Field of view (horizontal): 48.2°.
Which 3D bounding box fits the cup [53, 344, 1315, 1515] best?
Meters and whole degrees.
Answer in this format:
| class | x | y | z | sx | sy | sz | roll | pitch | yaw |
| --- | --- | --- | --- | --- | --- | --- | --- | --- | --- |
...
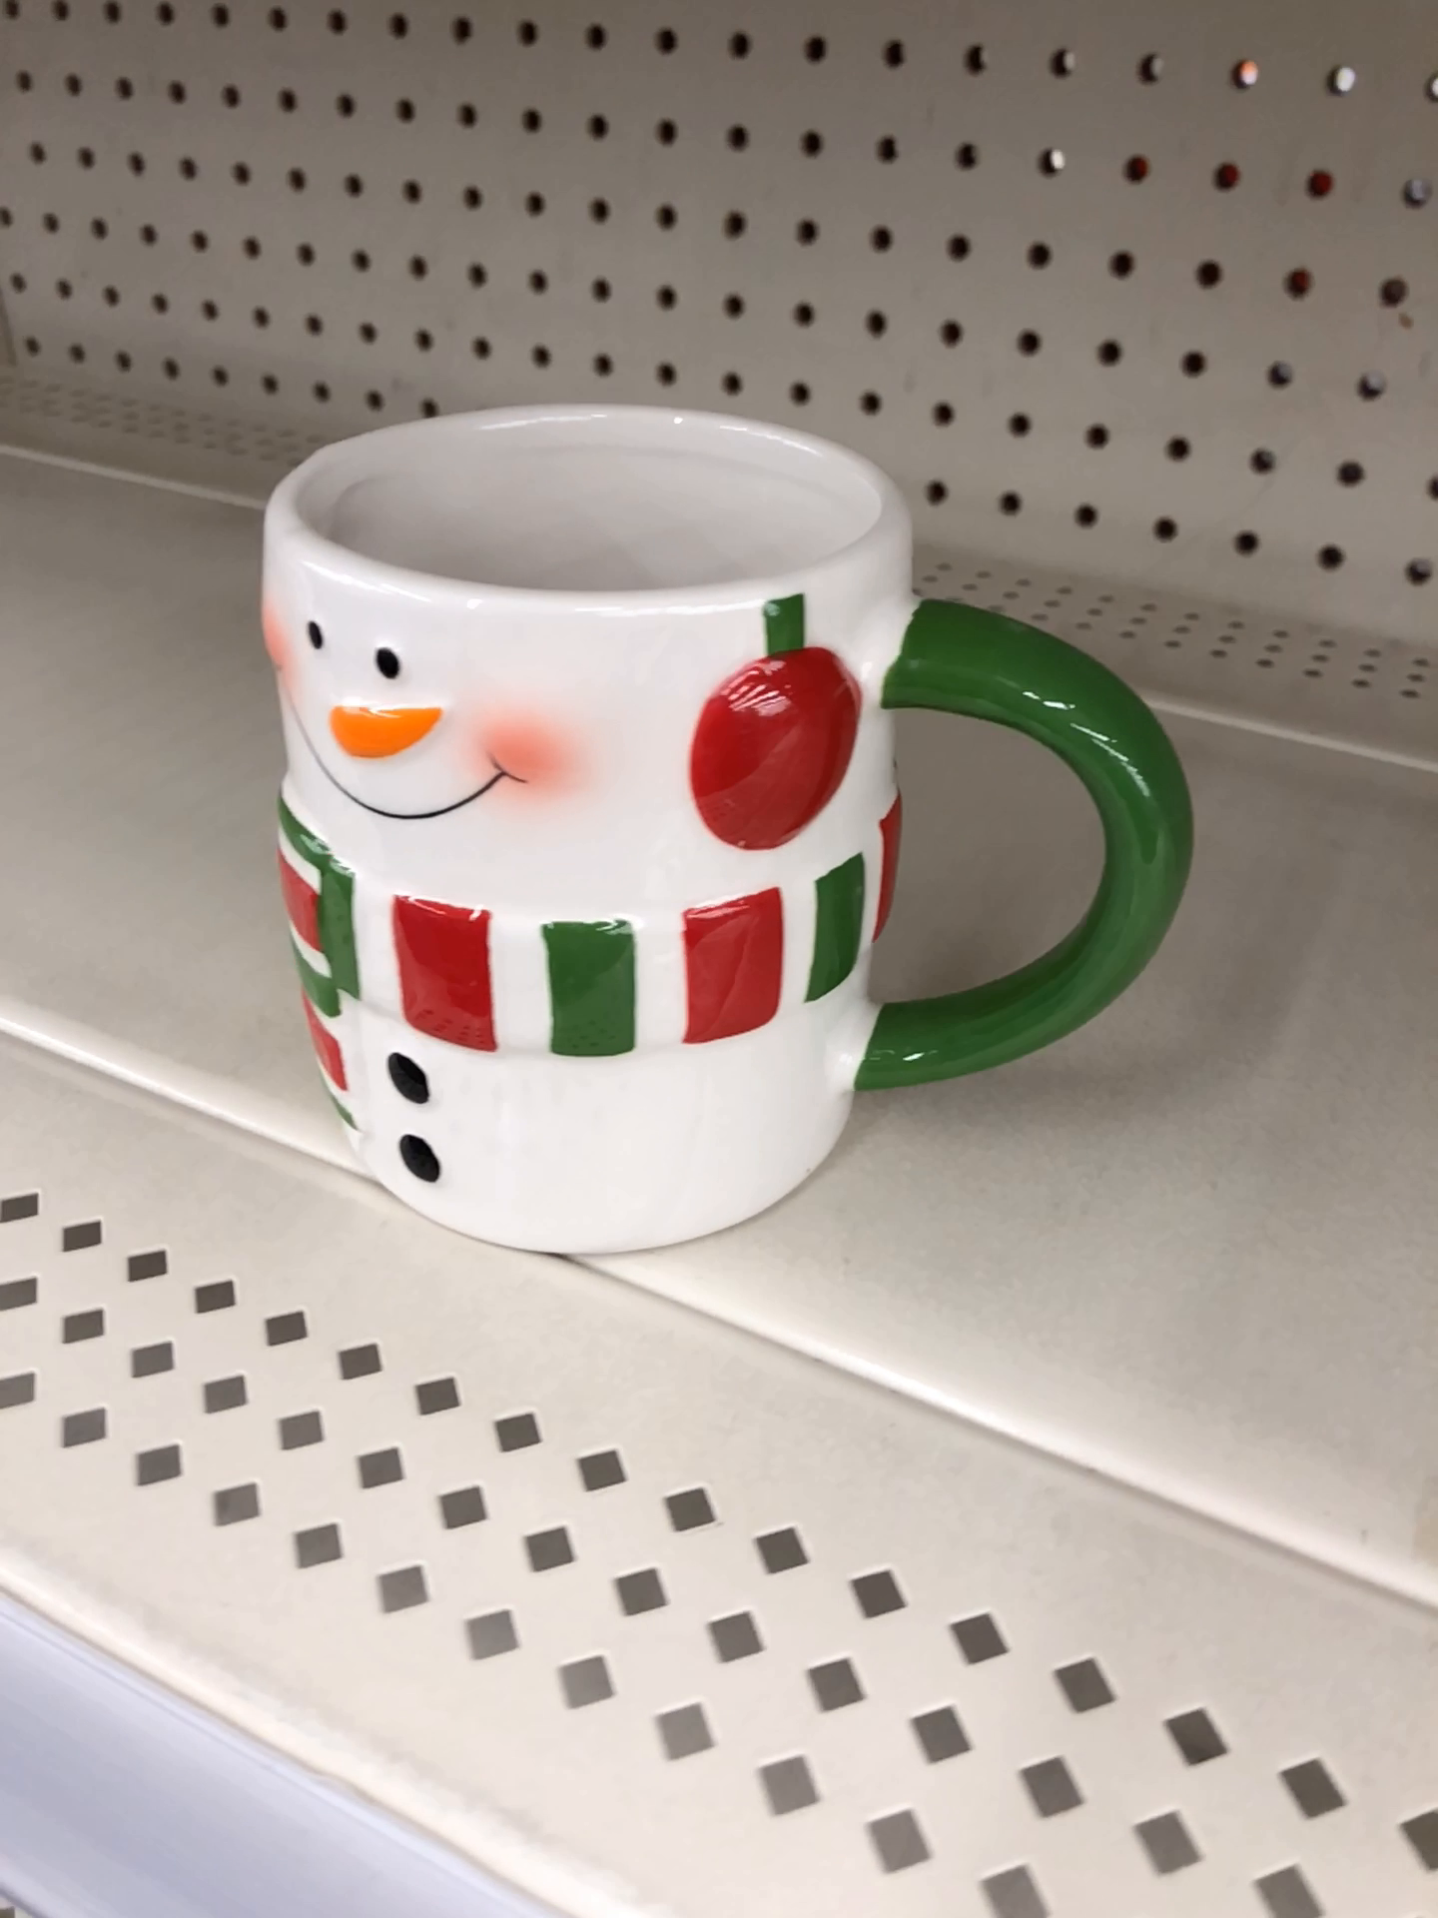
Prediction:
| class | x | y | z | sx | sy | sz | roll | pitch | yaw |
| --- | --- | --- | --- | --- | --- | --- | --- | --- | --- |
| cup | 0.000 | -0.013 | 0.228 | 0.130 | 0.110 | 0.090 | 14 | 36 | 18 |
